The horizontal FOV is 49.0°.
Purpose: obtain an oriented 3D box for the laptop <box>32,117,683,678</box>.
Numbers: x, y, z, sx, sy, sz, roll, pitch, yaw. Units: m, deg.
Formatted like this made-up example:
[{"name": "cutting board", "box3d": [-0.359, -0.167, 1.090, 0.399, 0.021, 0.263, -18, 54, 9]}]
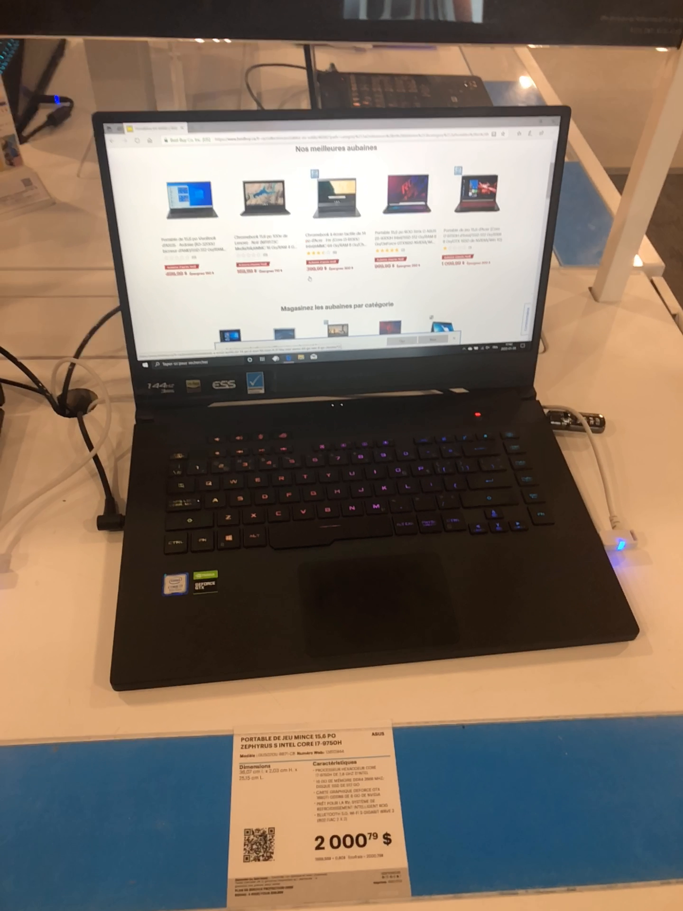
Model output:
[{"name": "laptop", "box3d": [0.018, -0.057, 0.515, 0.340, 0.207, 0.316, -3, 47, -5]}]
